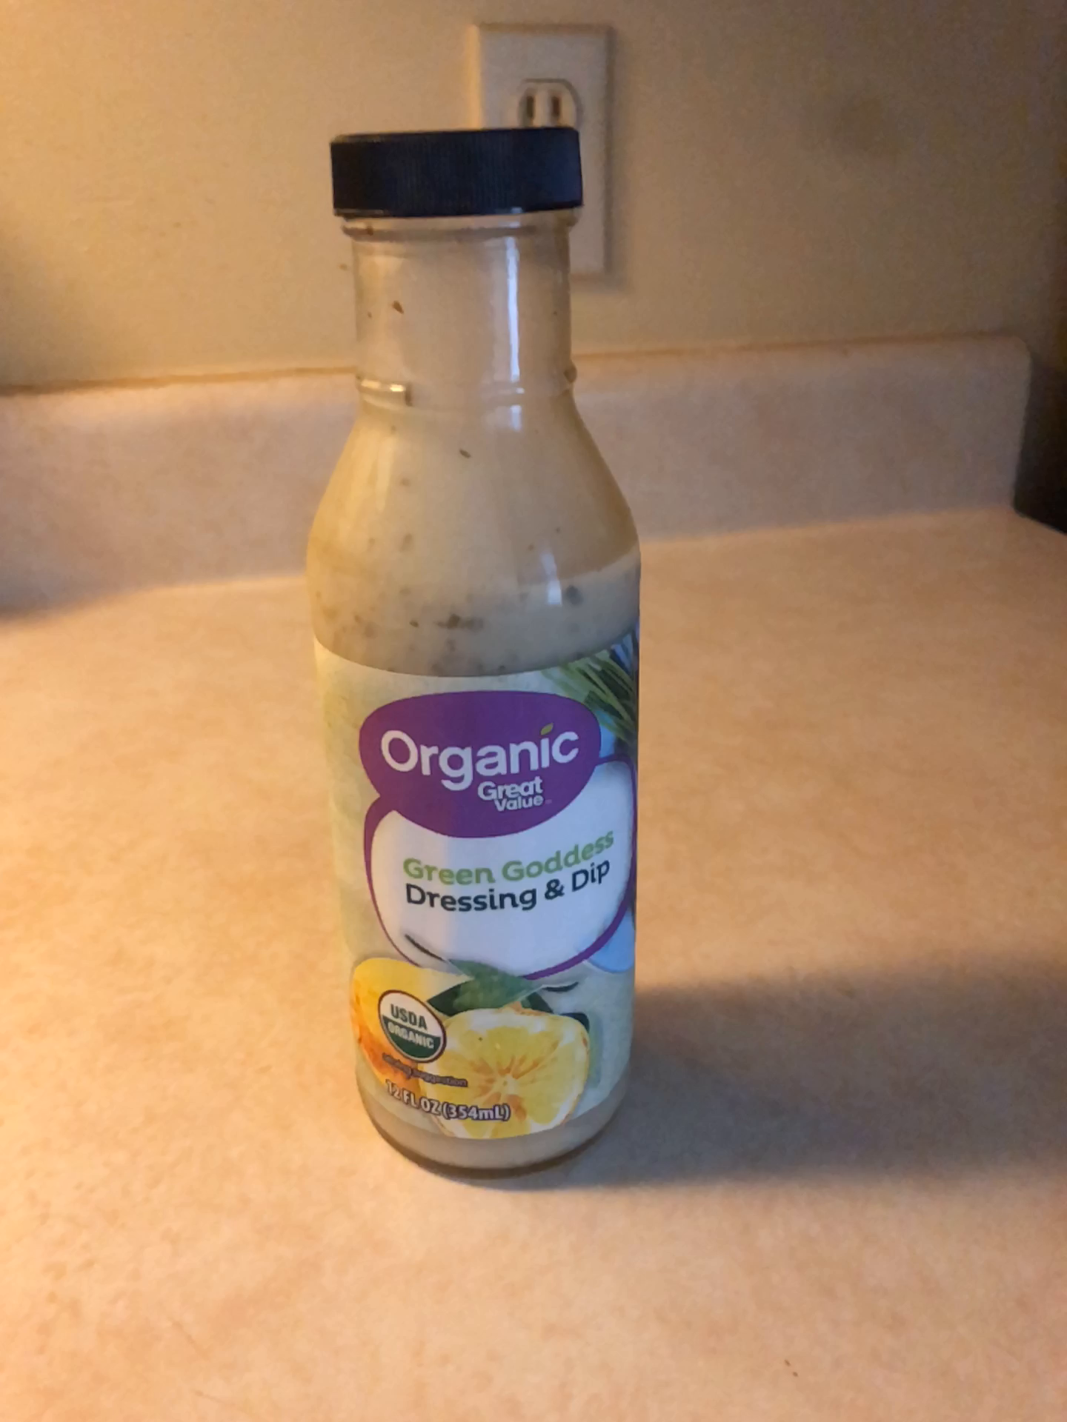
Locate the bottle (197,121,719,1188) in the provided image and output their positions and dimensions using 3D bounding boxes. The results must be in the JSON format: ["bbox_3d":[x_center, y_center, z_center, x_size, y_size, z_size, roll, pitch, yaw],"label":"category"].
[{"bbox_3d":[-0.009,-0.007,0.231,0.070,0.189,0.070,-1,24,0],"label":"bottle"}]
